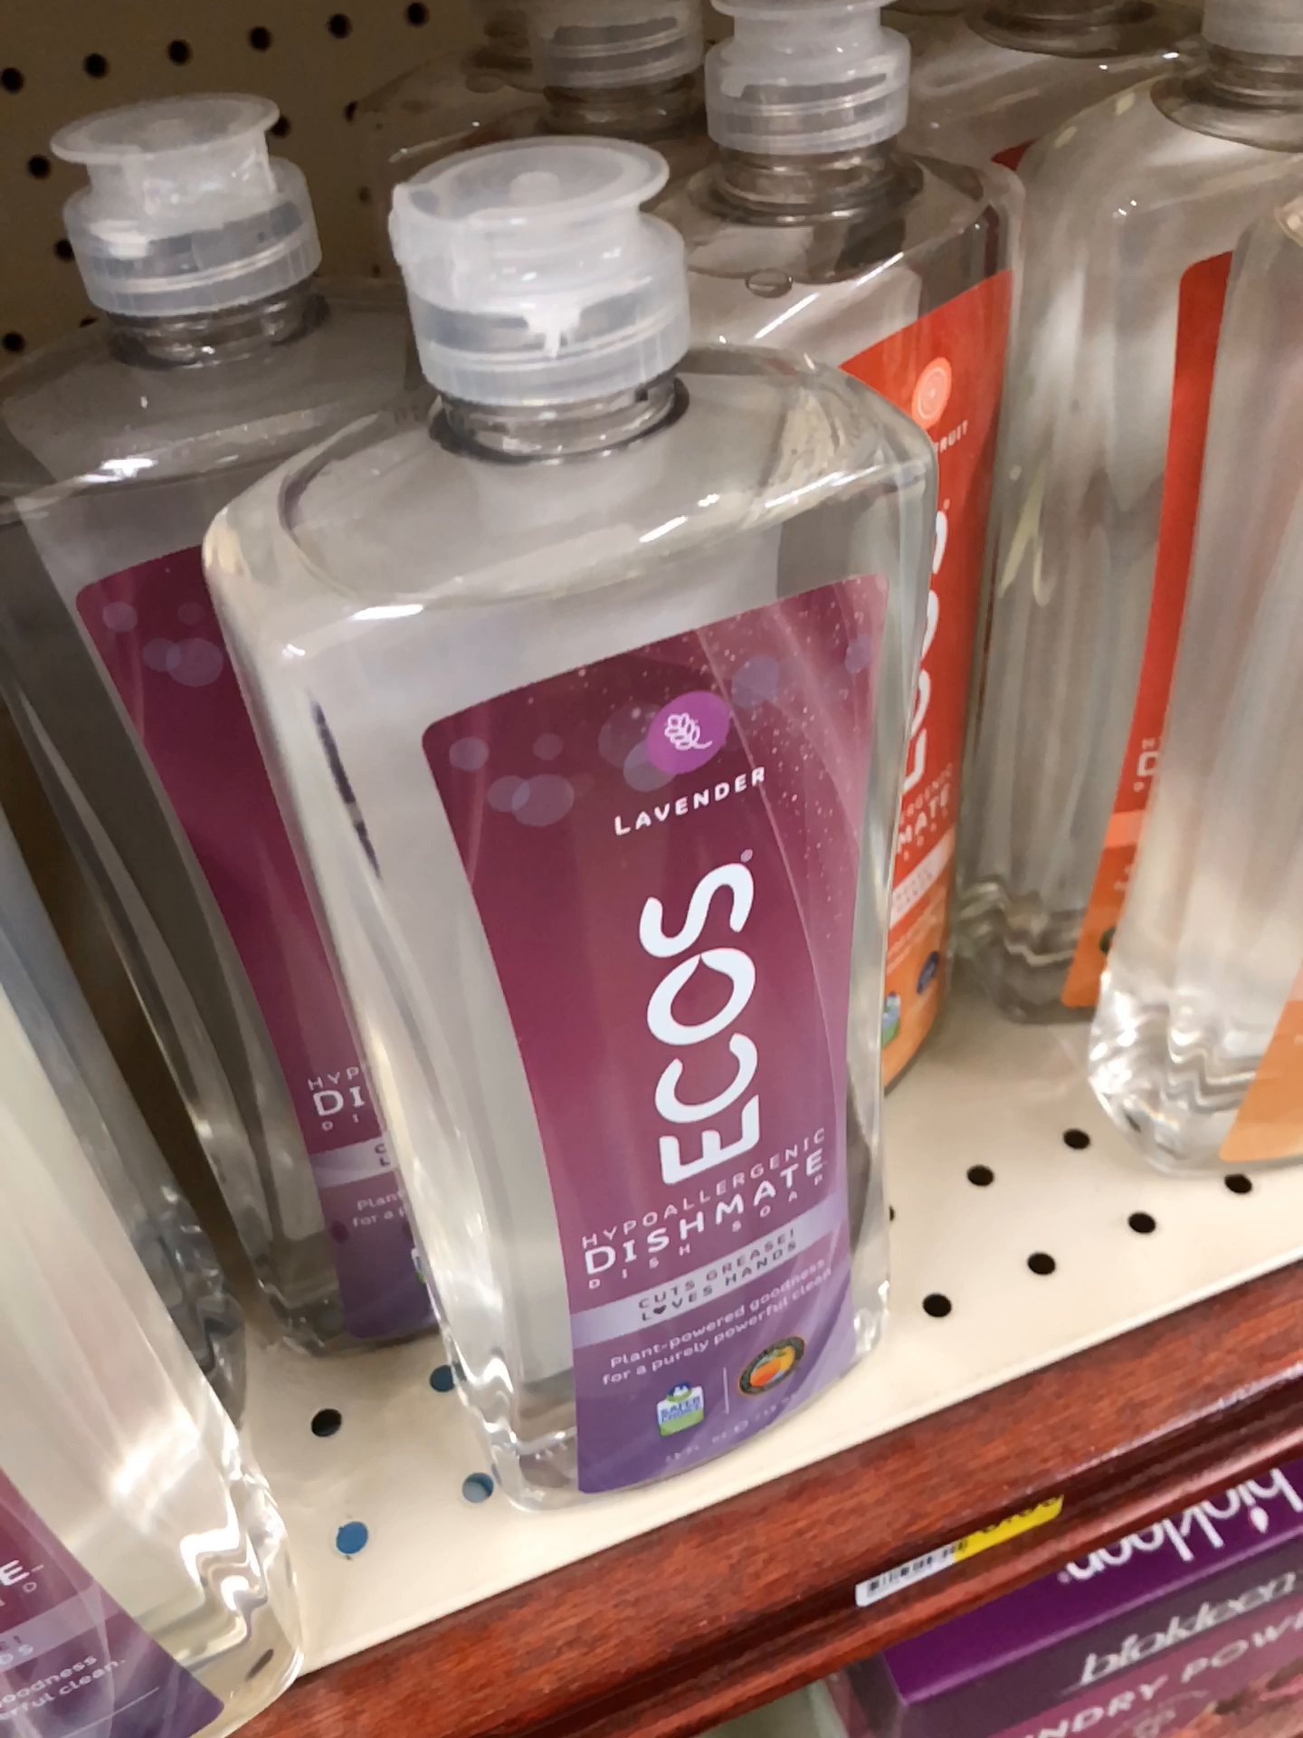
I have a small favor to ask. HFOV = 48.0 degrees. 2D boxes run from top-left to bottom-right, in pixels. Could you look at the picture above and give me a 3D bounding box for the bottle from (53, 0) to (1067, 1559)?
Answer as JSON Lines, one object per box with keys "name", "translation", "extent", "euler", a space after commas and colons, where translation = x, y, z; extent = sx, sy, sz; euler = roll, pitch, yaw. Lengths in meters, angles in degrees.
{"name": "bottle", "translation": [-0.003, 0.015, 0.228], "extent": [0.090, 0.244, 0.048], "euler": [-20, 45, -16]}
